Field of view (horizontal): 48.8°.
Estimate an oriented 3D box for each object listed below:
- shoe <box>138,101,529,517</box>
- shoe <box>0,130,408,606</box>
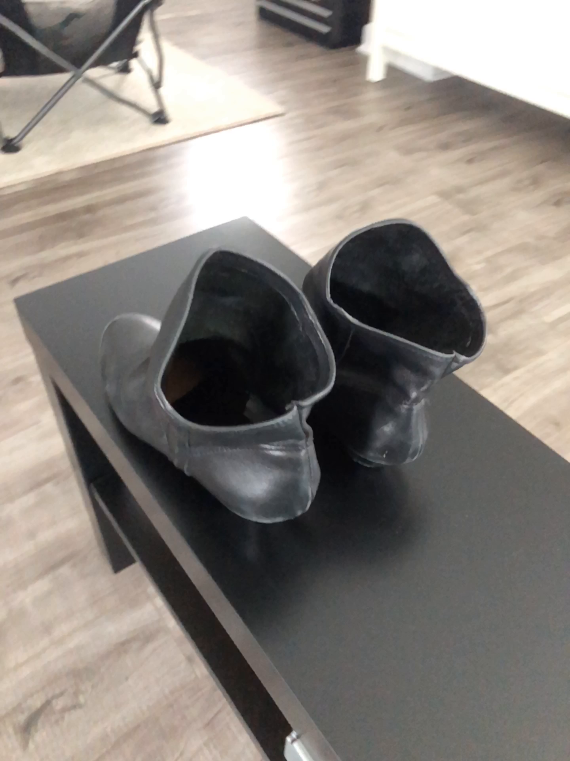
[{"bbox_3d":[0.014,-0.062,0.448,0.101,0.169,0.251,-28,52,-27],"label":"shoe"},{"bbox_3d":[-0.064,-0.022,0.407,0.101,0.169,0.261,-28,52,-27],"label":"shoe"}]
